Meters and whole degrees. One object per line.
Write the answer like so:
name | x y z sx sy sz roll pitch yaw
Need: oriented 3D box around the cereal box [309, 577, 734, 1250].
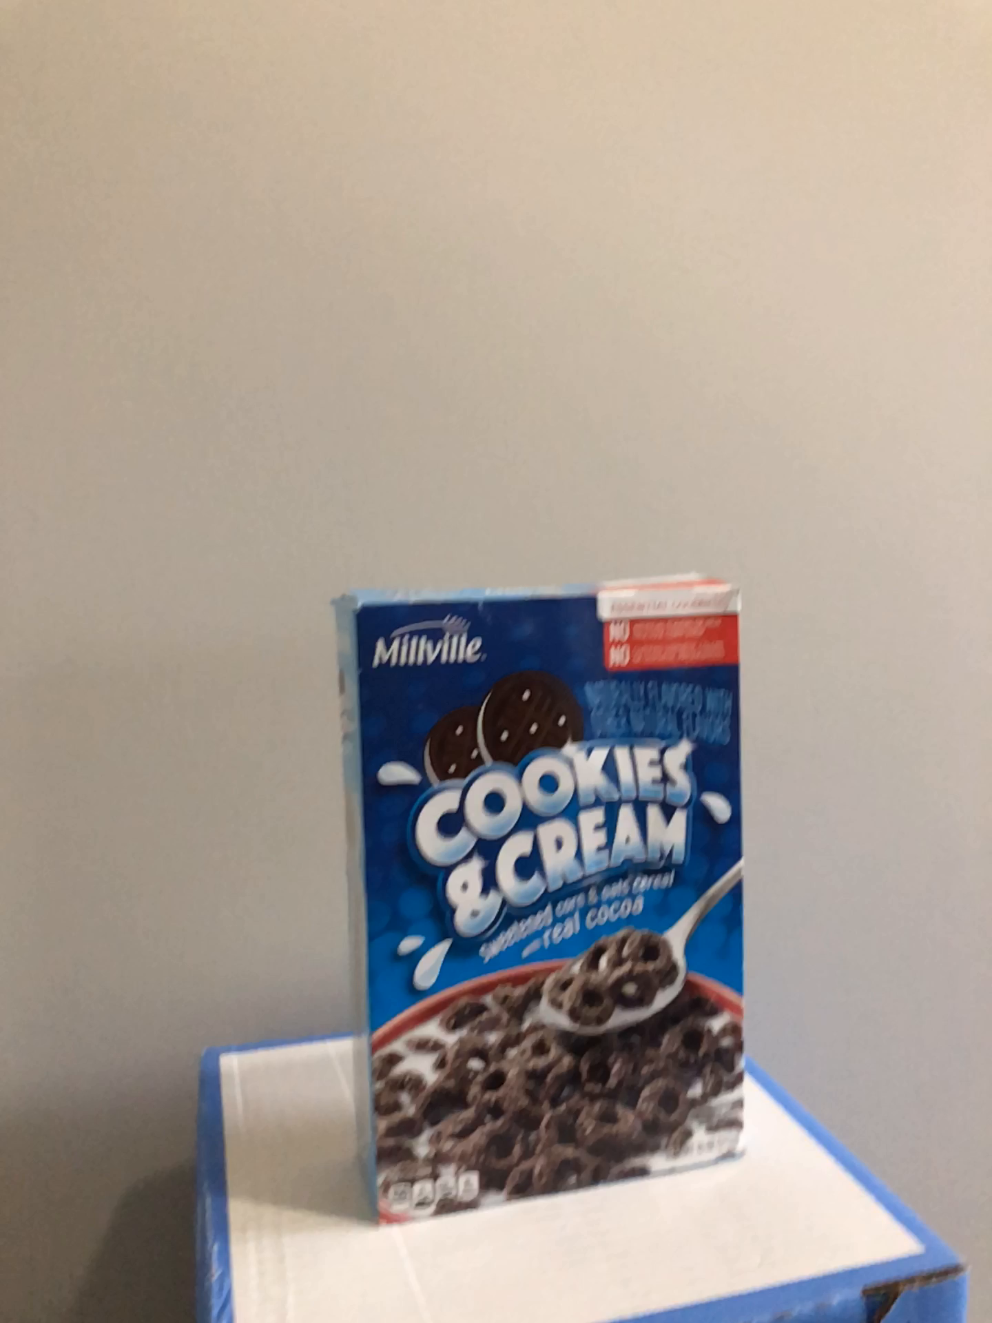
cereal box | 0.015 0.116 0.569 0.200 0.310 0.070 -3 6 -17
